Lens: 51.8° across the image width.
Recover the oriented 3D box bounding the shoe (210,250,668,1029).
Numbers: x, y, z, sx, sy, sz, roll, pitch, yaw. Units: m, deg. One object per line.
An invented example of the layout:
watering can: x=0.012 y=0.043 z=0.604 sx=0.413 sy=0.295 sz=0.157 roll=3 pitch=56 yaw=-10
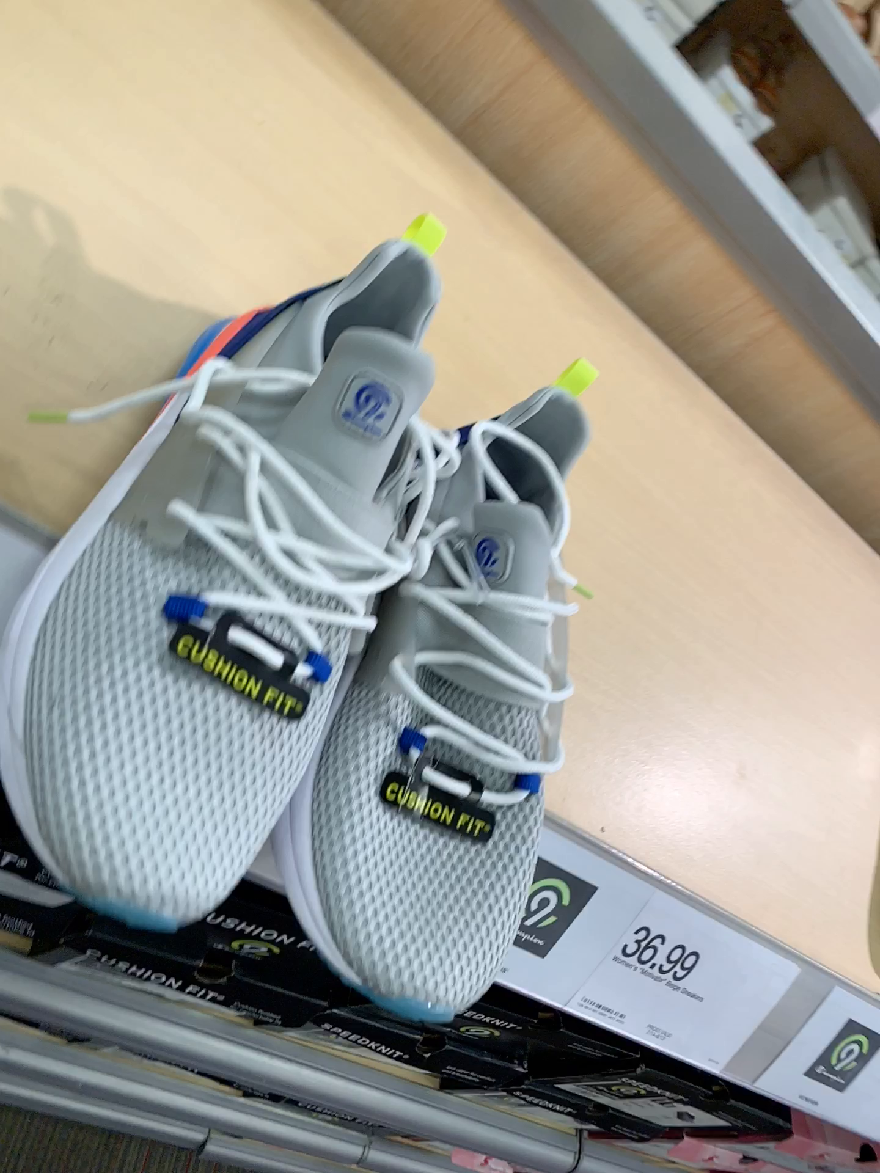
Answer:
shoe: x=0.009 y=0.014 z=0.355 sx=0.110 sy=0.090 sz=0.271 roll=28 pitch=50 yaw=-31

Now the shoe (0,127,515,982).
shoe: x=-0.059 y=-0.024 z=0.316 sx=0.110 sy=0.090 sz=0.271 roll=34 pitch=47 yaw=-27
